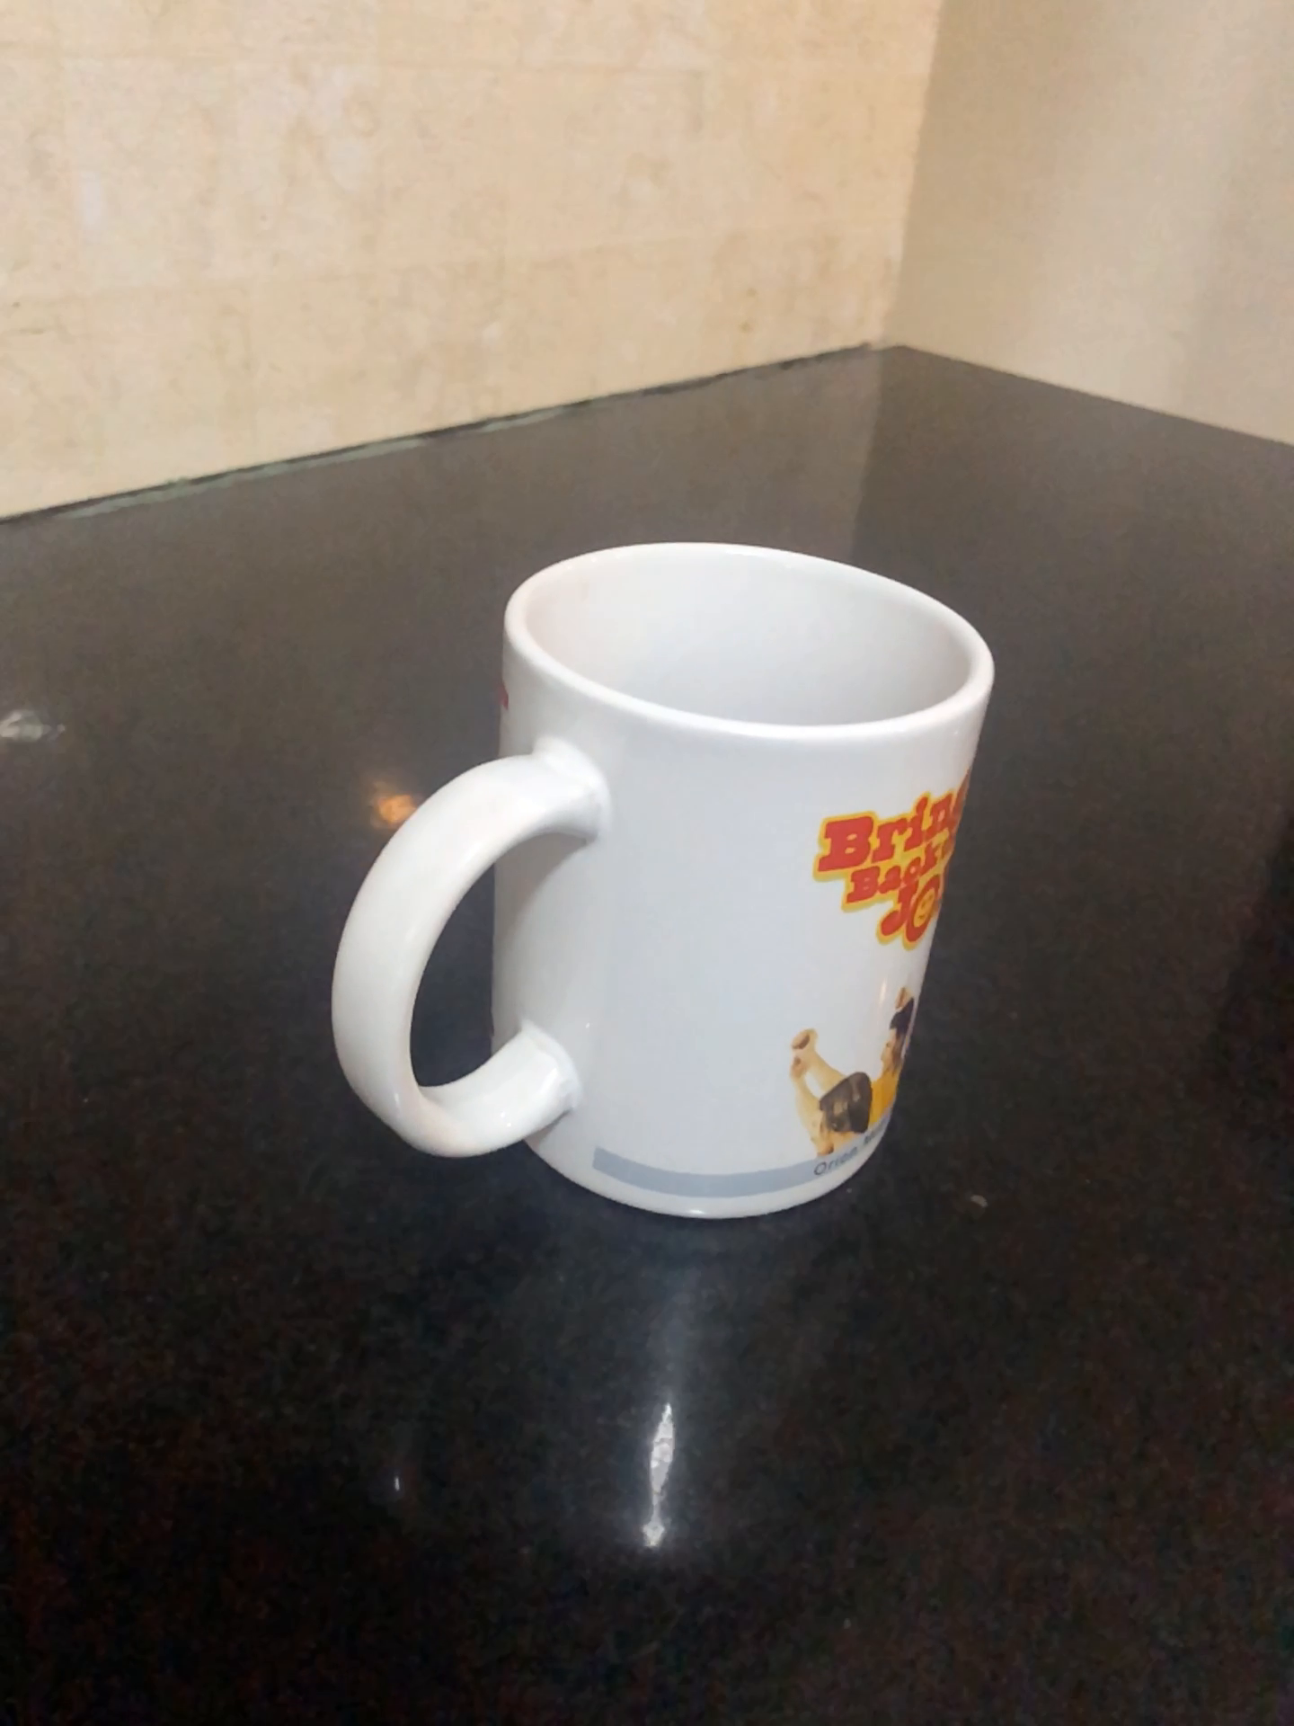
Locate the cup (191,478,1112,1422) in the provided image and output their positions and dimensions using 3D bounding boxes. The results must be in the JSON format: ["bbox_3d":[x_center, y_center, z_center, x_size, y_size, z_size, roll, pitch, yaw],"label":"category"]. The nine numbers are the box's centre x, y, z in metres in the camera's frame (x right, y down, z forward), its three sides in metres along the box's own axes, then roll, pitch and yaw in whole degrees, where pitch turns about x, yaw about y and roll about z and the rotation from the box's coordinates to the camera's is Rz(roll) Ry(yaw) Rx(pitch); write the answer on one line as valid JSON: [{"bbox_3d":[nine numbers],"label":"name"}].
[{"bbox_3d":[0.001,0.003,0.246,0.120,0.099,0.080,-24,41,-39],"label":"cup"}]
